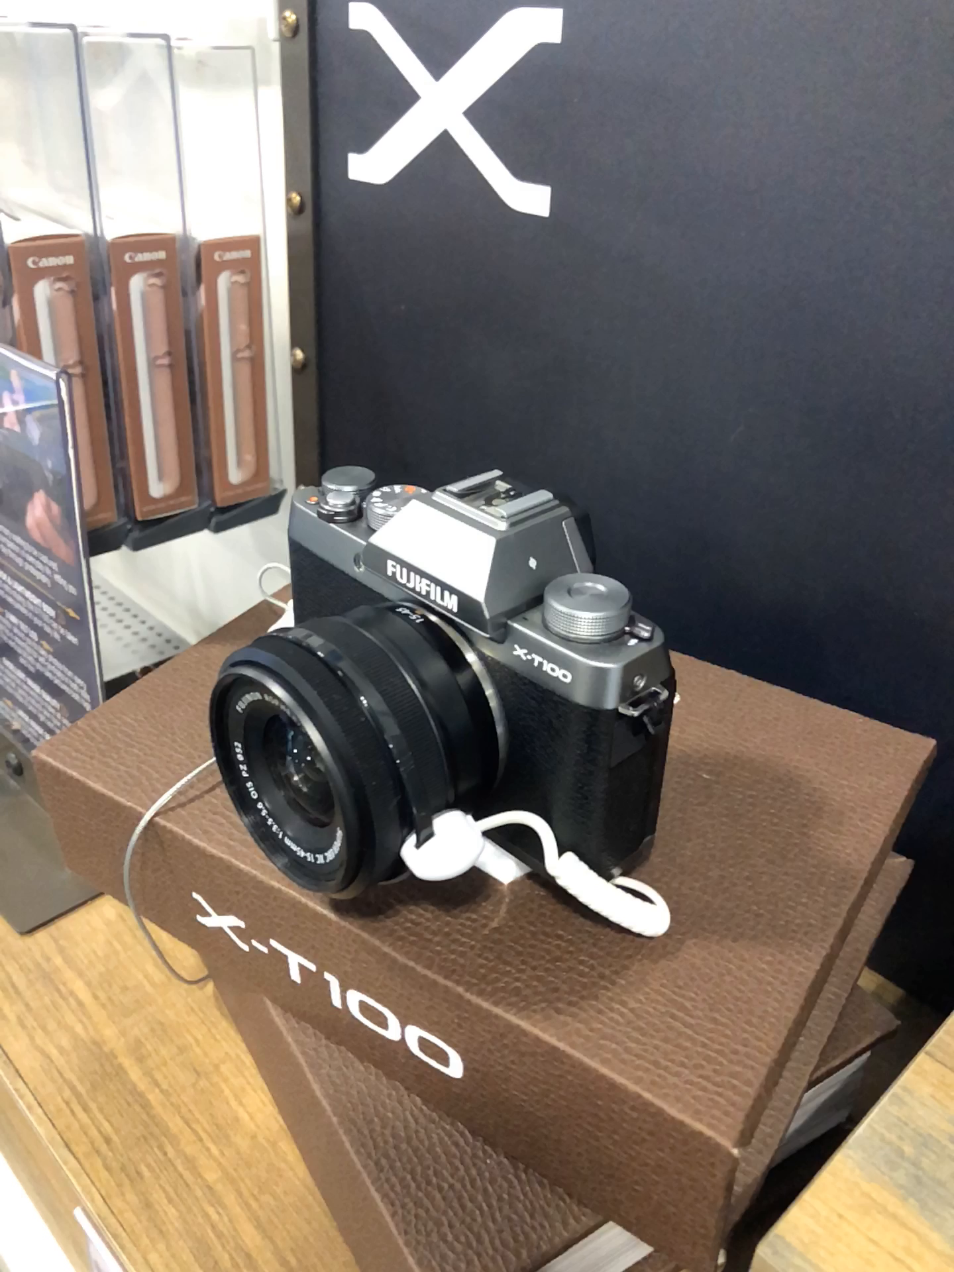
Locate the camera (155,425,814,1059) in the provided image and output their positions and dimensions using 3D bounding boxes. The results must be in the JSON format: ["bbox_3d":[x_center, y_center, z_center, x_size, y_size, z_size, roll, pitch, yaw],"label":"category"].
[{"bbox_3d":[-0.004,0.013,0.281,0.100,0.089,0.131,-22,38,-38],"label":"camera"}]
